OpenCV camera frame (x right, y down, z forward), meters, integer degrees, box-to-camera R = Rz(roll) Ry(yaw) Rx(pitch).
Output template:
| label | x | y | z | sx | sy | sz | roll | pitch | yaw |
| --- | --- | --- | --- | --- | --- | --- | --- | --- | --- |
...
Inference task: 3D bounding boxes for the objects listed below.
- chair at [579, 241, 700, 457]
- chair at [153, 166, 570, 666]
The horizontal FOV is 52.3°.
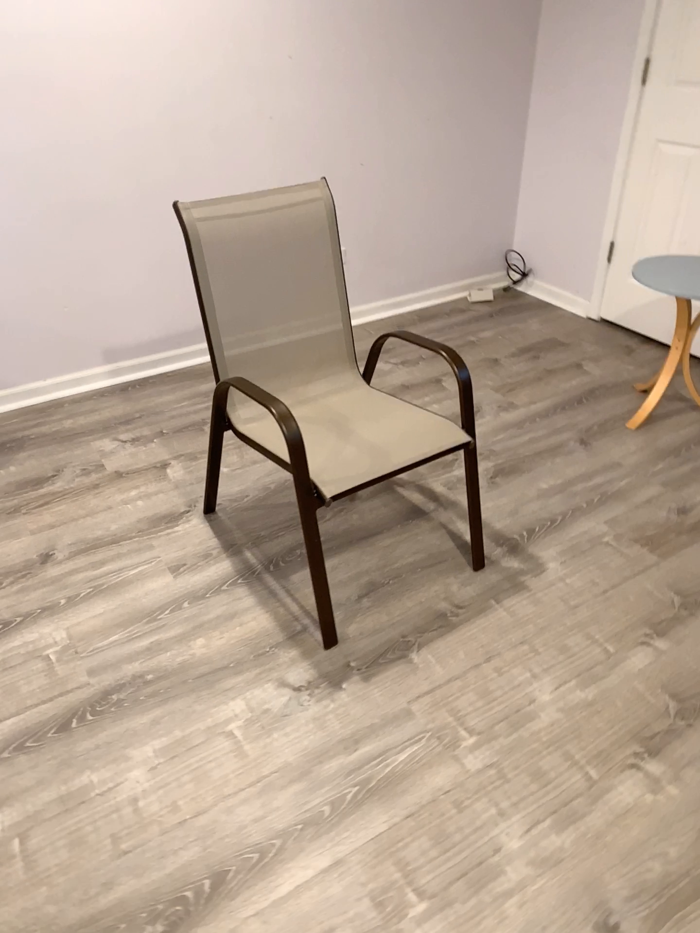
| label | x | y | z | sx | sy | sz | roll | pitch | yaw |
| --- | --- | --- | --- | --- | --- | --- | --- | --- | --- |
| chair | 1.134 | -0.415 | 2.418 | 0.426 | 0.526 | 0.436 | -21 | 38 | -29 |
| chair | -0.008 | -0.176 | 1.730 | 0.566 | 0.873 | 0.718 | -21 | 38 | -29 |
